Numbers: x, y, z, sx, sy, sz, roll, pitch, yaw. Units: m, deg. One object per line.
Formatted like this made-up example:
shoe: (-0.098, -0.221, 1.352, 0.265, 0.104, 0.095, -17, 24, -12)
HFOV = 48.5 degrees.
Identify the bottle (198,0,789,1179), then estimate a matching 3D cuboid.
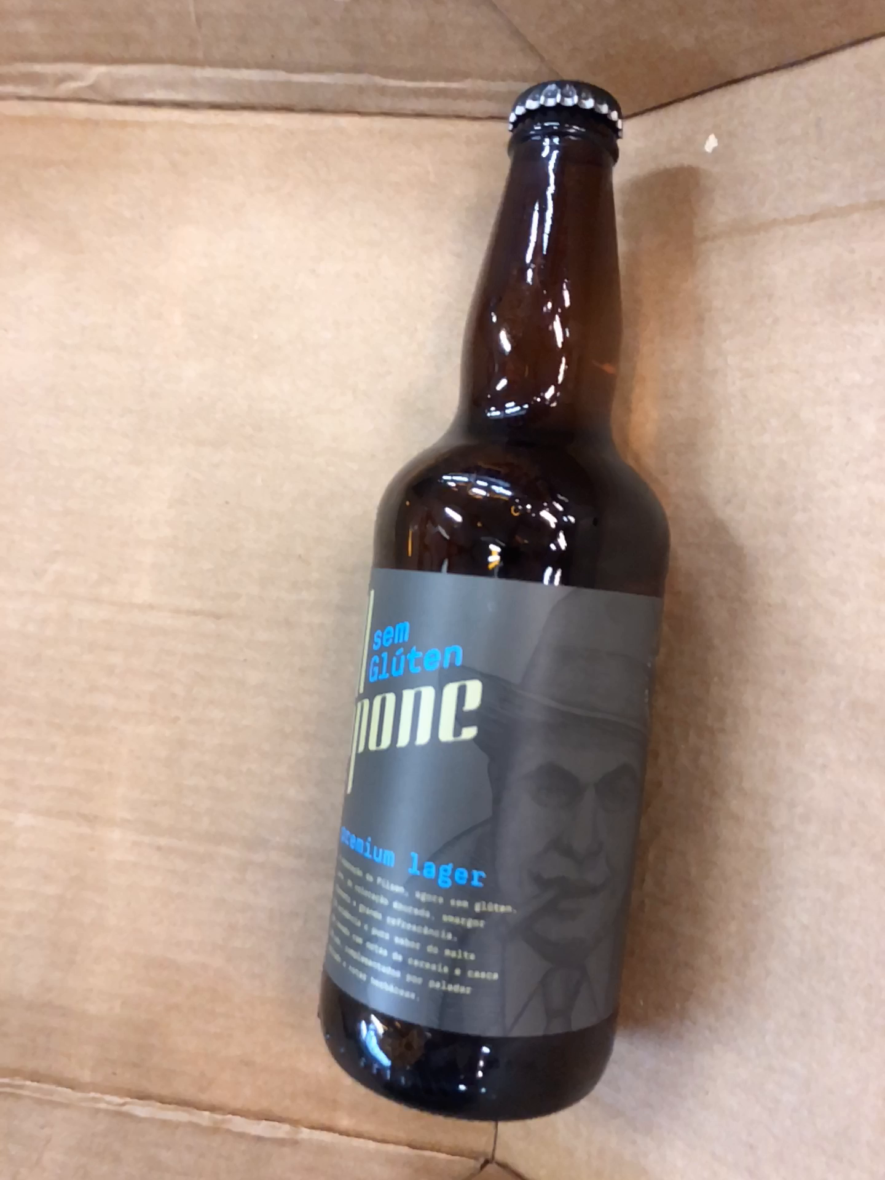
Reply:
bottle: (0.015, 0.003, 0.220, 0.080, 0.060, 0.240, 7, 86, 32)
